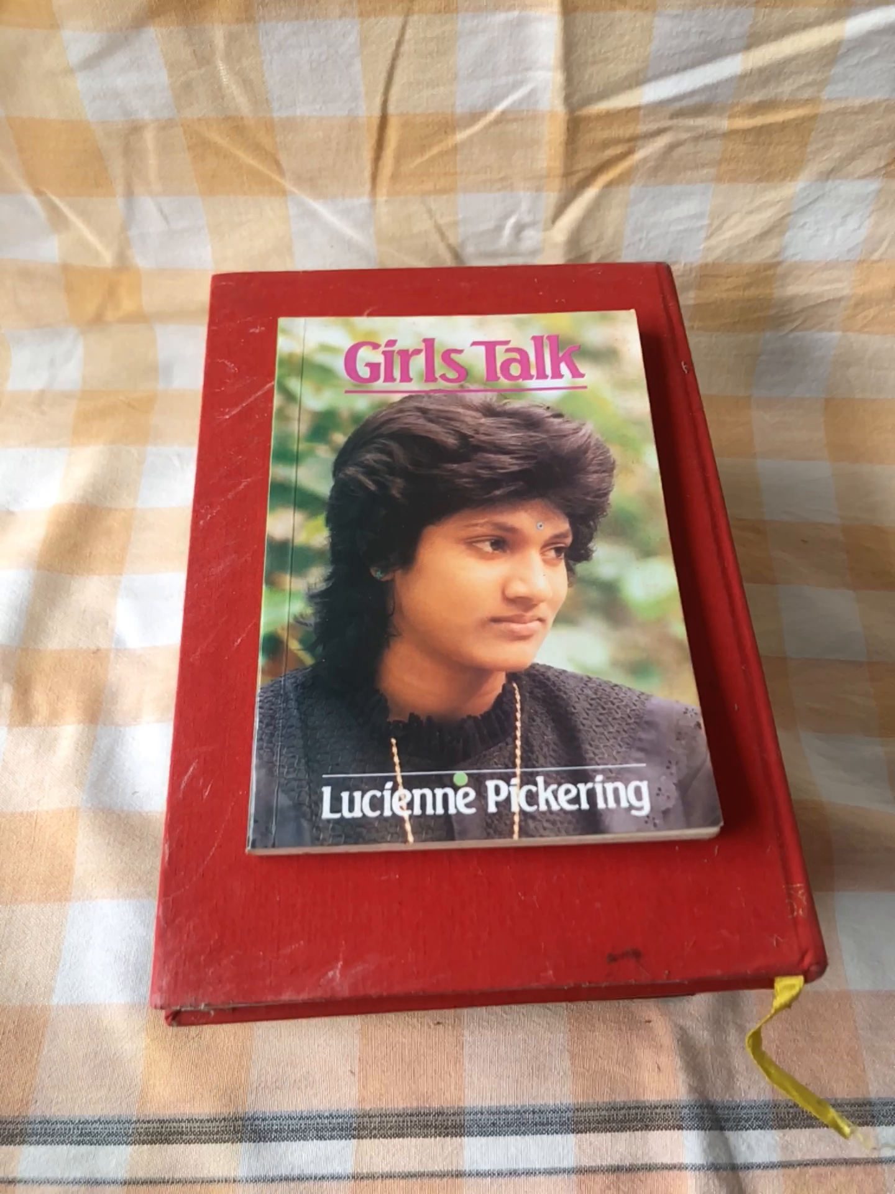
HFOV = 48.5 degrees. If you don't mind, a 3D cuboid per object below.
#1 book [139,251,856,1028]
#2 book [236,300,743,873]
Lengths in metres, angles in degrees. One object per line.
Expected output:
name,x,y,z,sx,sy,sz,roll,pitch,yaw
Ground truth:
book,0.006,-0.006,0.314,0.174,0.031,0.249,-3,61,-2
book,0.007,-0.013,0.308,0.130,0.025,0.182,-2,63,-2
